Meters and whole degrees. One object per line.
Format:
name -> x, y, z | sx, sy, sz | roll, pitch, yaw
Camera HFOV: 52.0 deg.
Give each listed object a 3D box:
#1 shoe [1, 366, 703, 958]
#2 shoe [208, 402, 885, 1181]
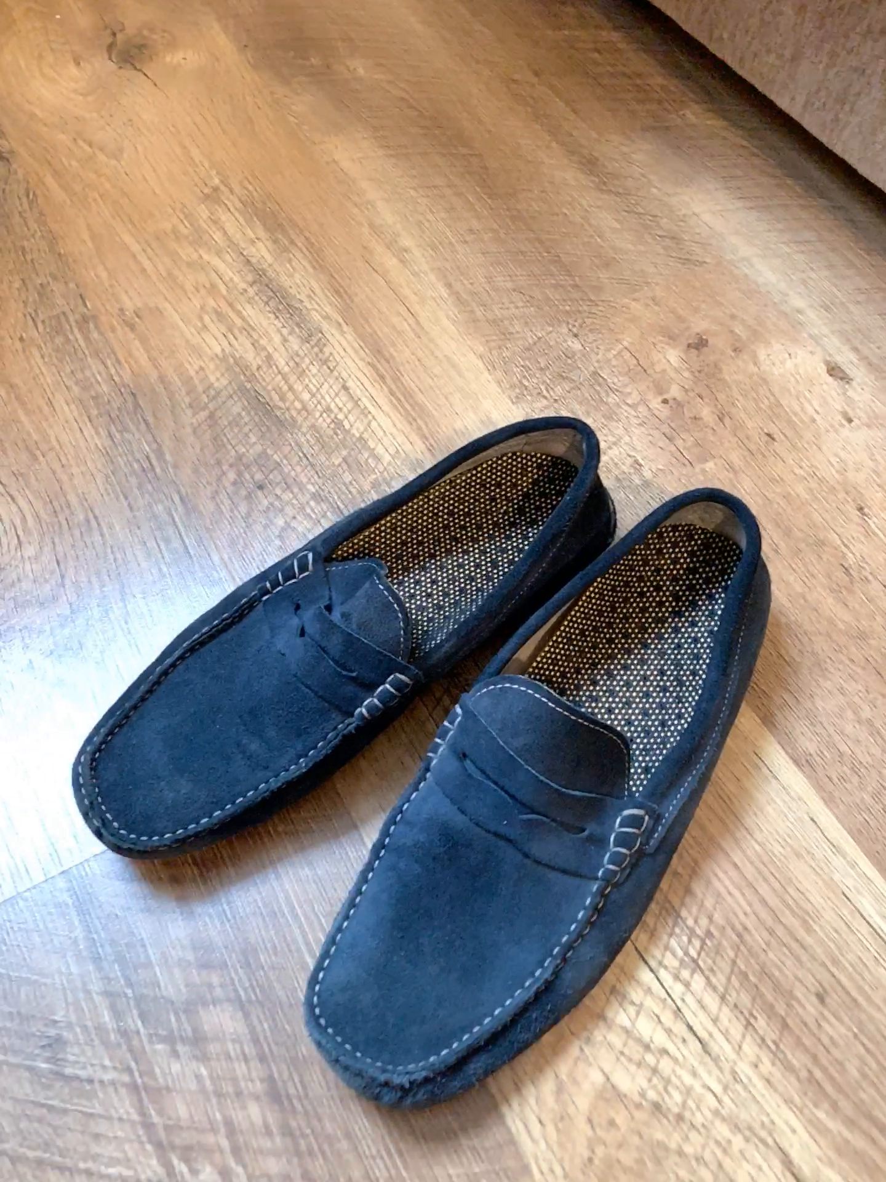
shoe -> -0.027, 0.019, 0.389 | 0.270, 0.070, 0.100 | -35, 66, -20
shoe -> 0.055, 0.062, 0.360 | 0.110, 0.070, 0.290 | 31, 64, 17
